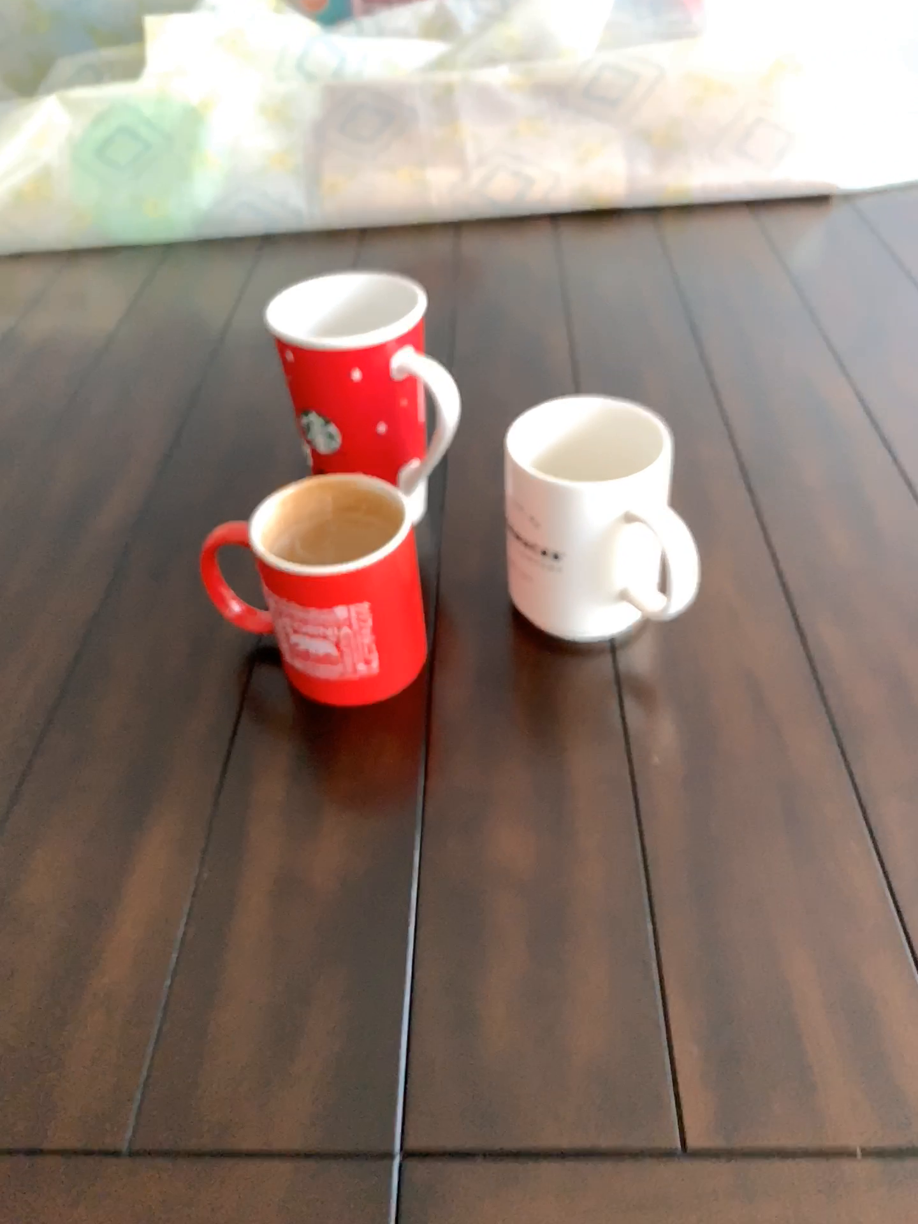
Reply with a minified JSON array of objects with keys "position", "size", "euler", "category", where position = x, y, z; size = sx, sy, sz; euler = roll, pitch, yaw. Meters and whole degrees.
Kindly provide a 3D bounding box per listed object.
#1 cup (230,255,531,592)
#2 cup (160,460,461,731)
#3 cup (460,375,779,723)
[{"position":[-0.043,-0.119,0.598],"size":[0.141,0.139,0.100],"euler":[28,52,31],"category":"cup"},{"position":[-0.072,-0.011,0.517],"size":[0.120,0.090,0.090],"euler":[10,44,16],"category":"cup"},{"position":[0.082,-0.040,0.539],"size":[0.100,0.109,0.141],"euler":[-23,45,-19],"category":"cup"}]
